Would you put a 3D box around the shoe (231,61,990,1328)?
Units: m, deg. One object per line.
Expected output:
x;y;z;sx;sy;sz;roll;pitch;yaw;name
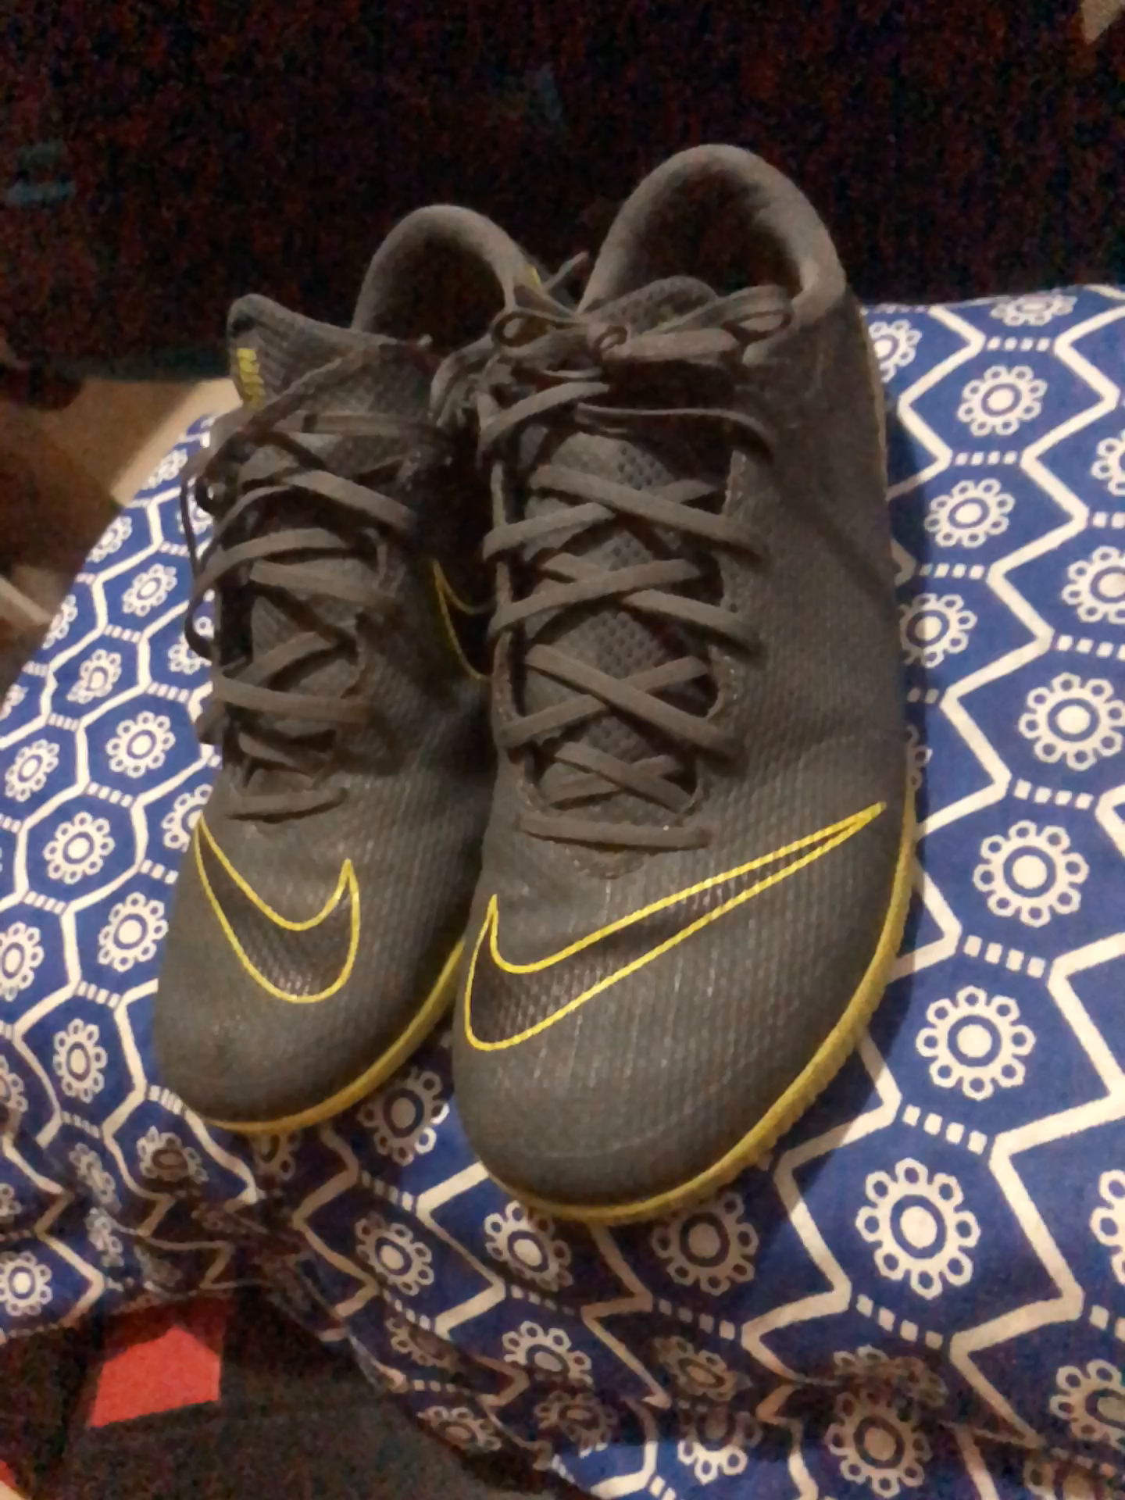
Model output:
0.030;-0.020;0.270;0.090;0.090;0.241;0;61;27;shoe

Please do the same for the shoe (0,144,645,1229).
-0.059;-0.022;0.312;0.090;0.090;0.241;0;61;27;shoe
